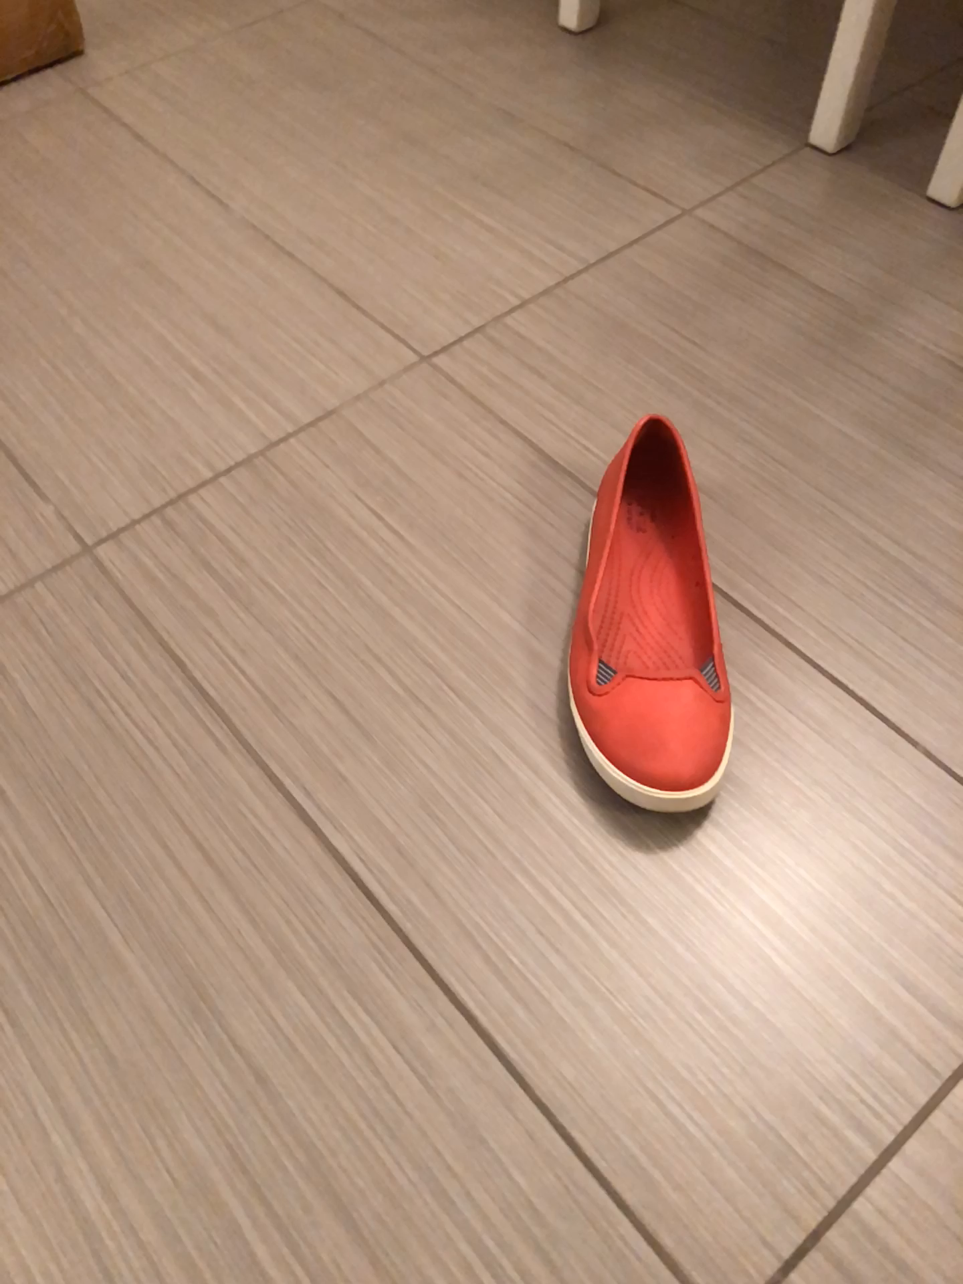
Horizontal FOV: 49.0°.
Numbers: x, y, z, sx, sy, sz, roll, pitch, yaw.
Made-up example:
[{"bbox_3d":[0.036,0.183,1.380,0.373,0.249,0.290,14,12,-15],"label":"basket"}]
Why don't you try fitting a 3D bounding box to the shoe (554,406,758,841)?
[{"bbox_3d":[0.104,-0.023,0.636,0.100,0.070,0.271,4,53,6],"label":"shoe"}]
